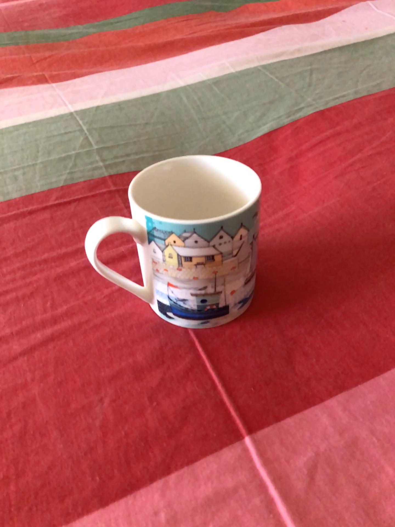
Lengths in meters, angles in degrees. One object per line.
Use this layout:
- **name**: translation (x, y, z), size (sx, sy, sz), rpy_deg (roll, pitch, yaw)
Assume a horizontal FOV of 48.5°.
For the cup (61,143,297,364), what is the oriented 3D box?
- **cup**: translation (-0.014, -0.013, 0.294), size (0.120, 0.080, 0.094), rpy_deg (-17, 41, -15)
